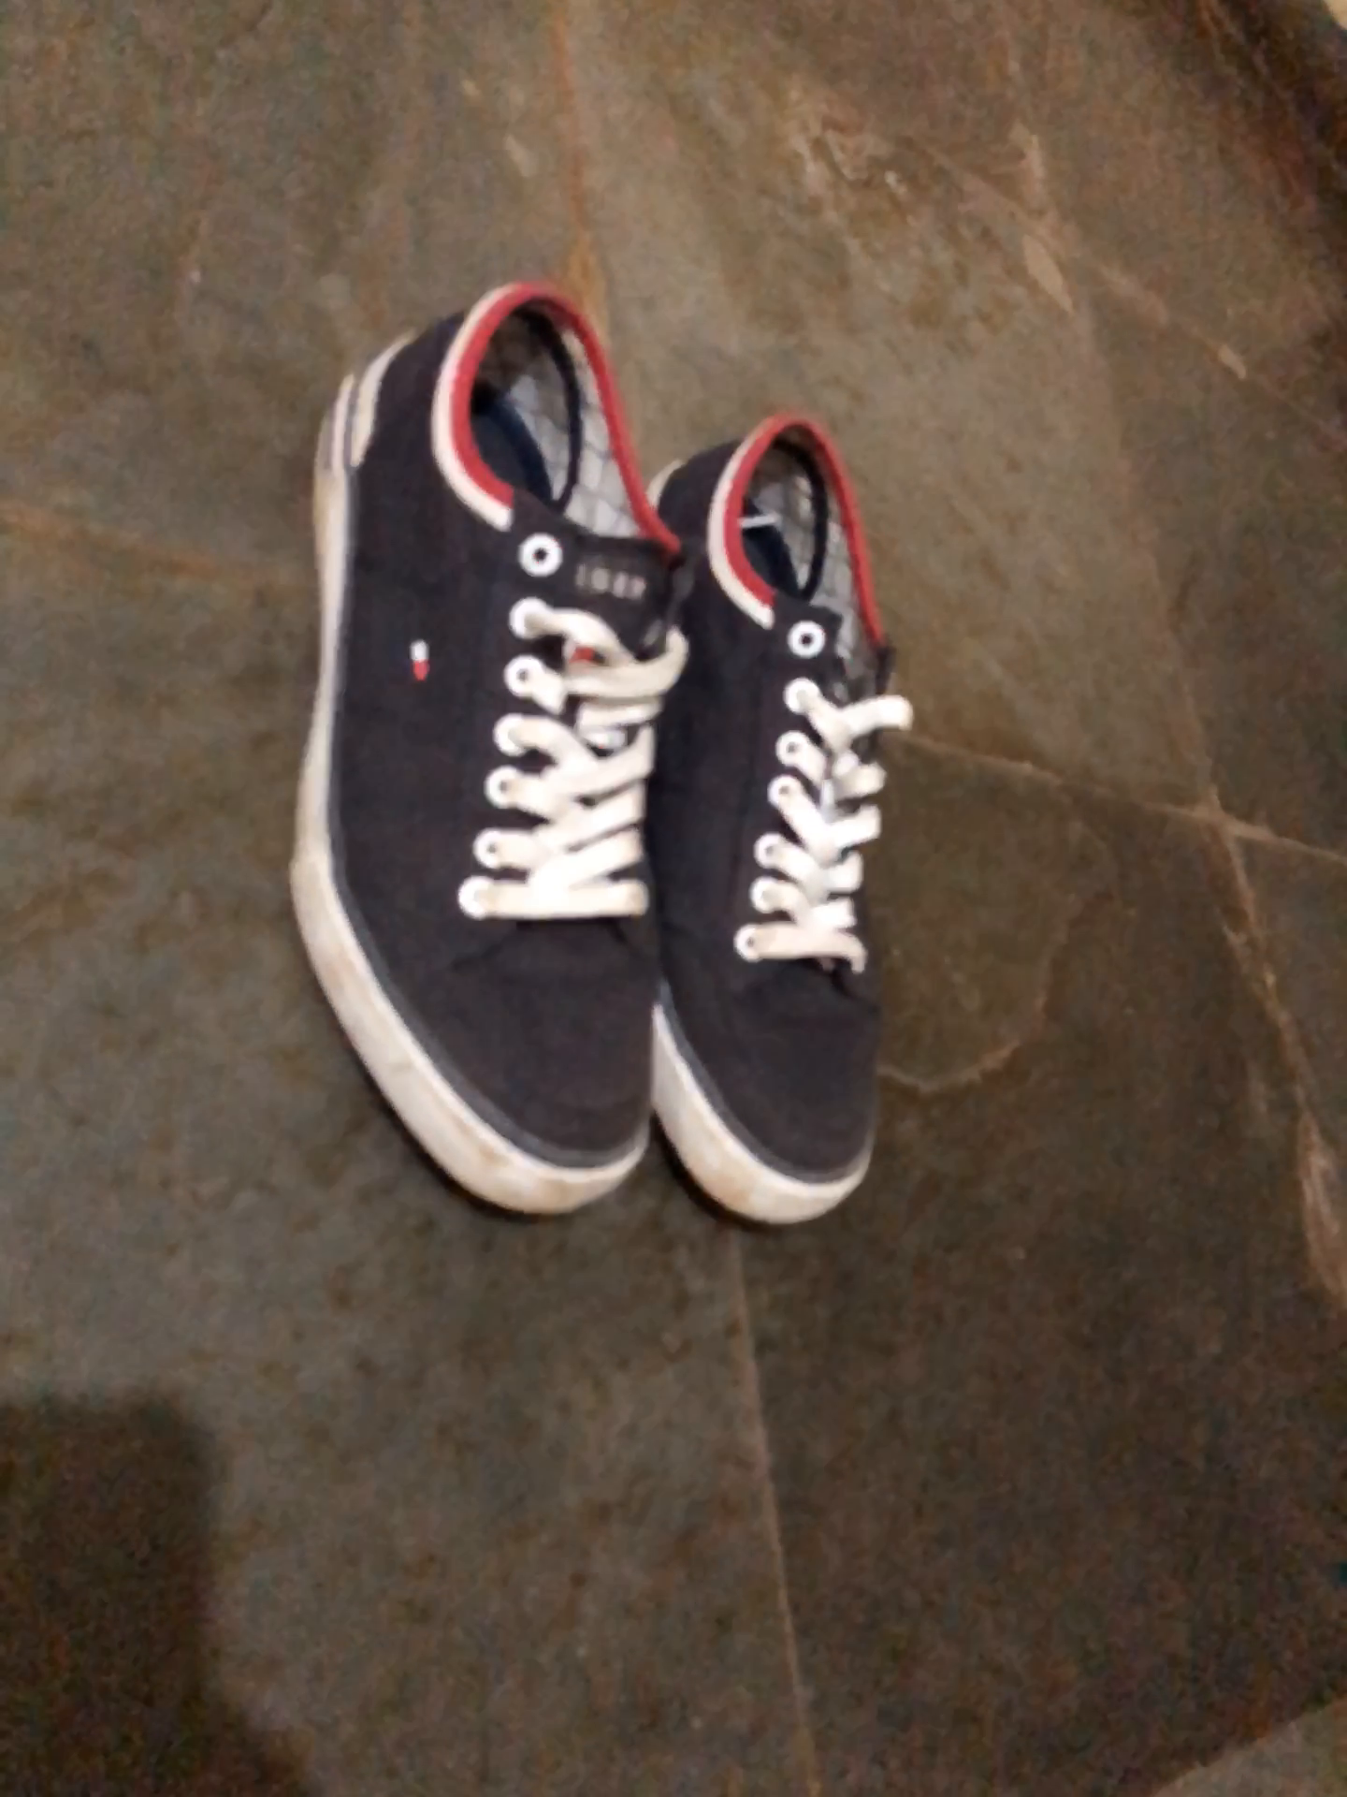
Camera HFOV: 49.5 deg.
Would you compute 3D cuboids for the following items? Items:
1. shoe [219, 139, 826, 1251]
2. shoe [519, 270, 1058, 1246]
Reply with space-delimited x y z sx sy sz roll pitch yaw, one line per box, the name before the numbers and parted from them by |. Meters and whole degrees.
shoe | -0.054 -0.054 0.432 0.111 0.099 0.291 8 65 -40
shoe | 0.029 -0.043 0.498 0.111 0.099 0.301 13 62 -39
